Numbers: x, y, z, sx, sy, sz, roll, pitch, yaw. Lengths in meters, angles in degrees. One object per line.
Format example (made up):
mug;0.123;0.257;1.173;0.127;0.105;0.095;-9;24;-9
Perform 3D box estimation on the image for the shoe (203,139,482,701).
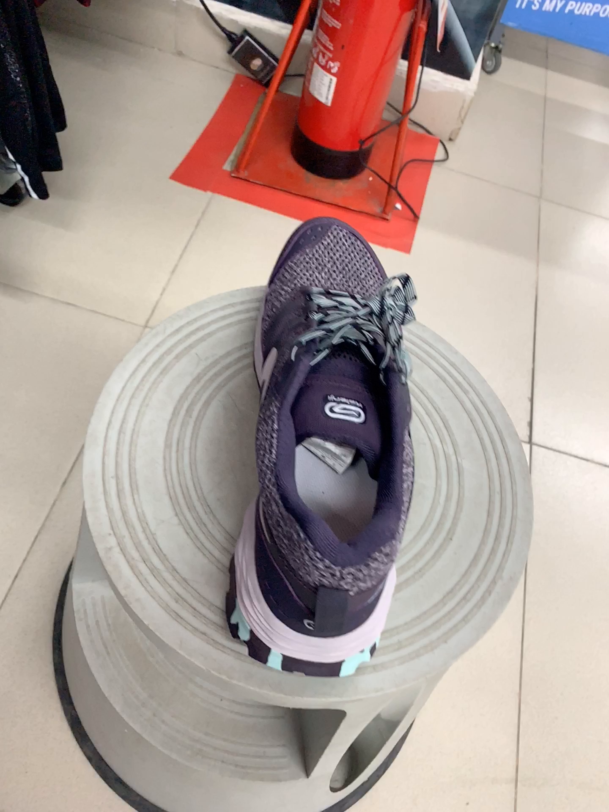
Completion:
shoe;0.019;-0.005;0.354;0.100;0.110;0.291;9;57;-6
